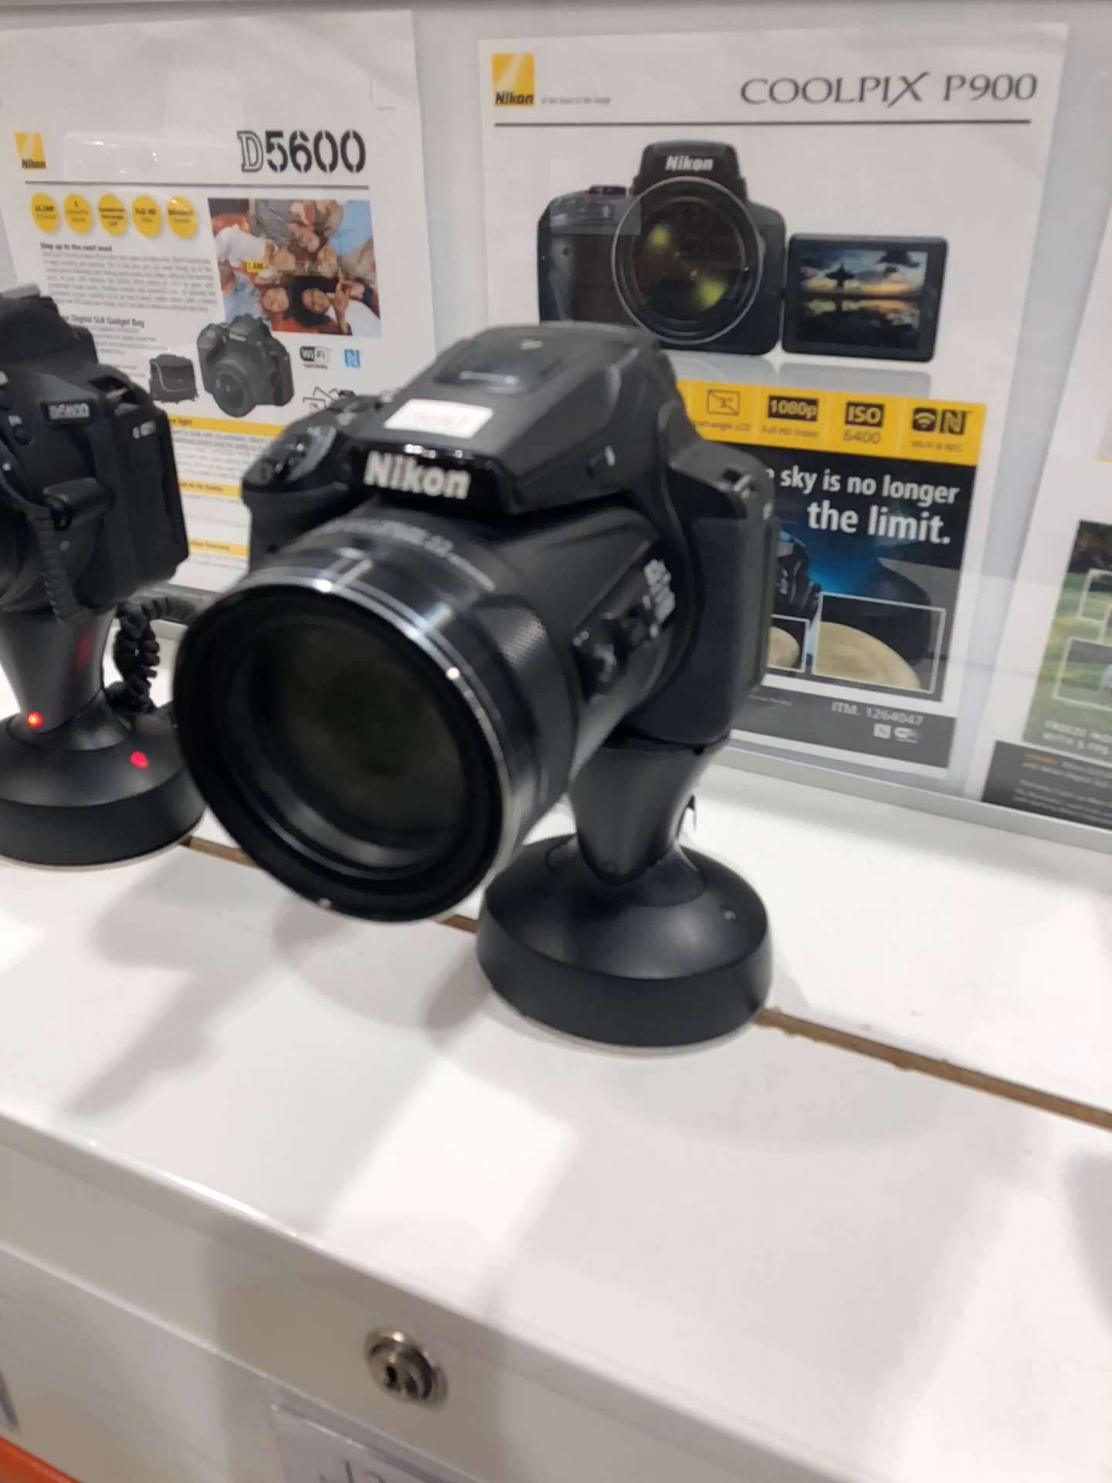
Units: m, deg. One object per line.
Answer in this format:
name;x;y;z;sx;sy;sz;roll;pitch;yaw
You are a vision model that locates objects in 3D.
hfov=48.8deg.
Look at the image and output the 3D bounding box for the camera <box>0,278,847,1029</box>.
camera;-0.024;-0.041;0.288;0.140;0.100;0.161;12;31;20
